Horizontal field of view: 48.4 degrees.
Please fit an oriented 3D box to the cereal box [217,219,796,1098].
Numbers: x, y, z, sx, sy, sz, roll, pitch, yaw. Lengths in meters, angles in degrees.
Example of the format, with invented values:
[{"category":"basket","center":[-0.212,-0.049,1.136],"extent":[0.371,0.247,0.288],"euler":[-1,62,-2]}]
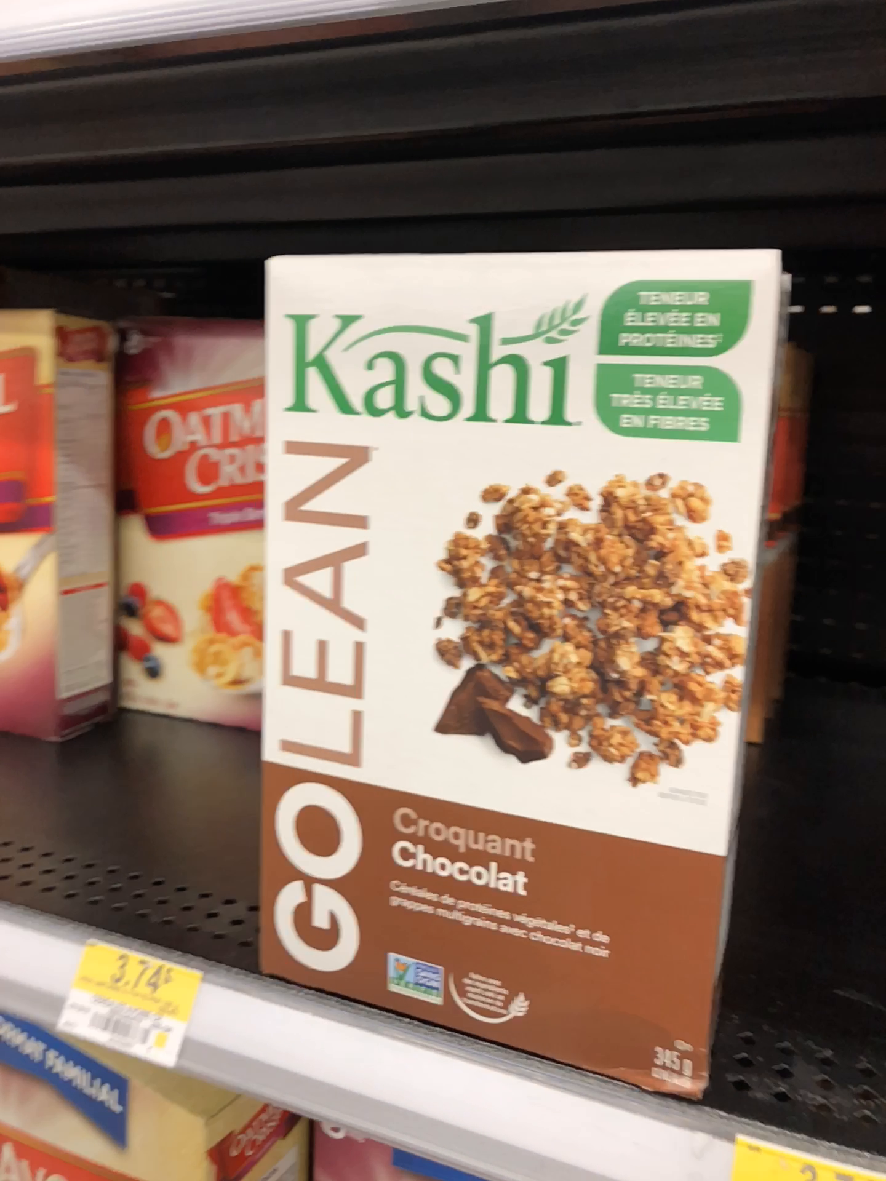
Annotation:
[{"category":"cereal box","center":[0.013,0.016,0.325],"extent":[0.170,0.249,0.050],"euler":[6,12,22]}]
